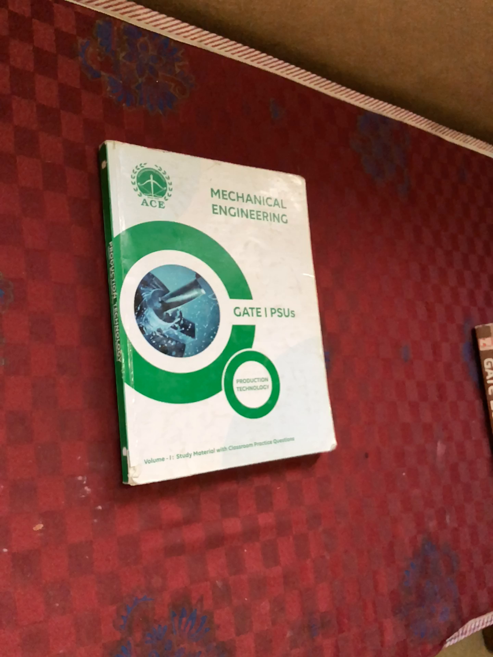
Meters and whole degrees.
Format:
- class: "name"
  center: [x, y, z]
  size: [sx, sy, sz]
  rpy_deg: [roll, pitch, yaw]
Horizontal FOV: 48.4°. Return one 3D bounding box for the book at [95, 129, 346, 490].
- class: "book"
  center: [-0.017, -0.019, 0.488]
  size: [0.211, 0.030, 0.280]
  rpy_deg: [0, 80, -35]
